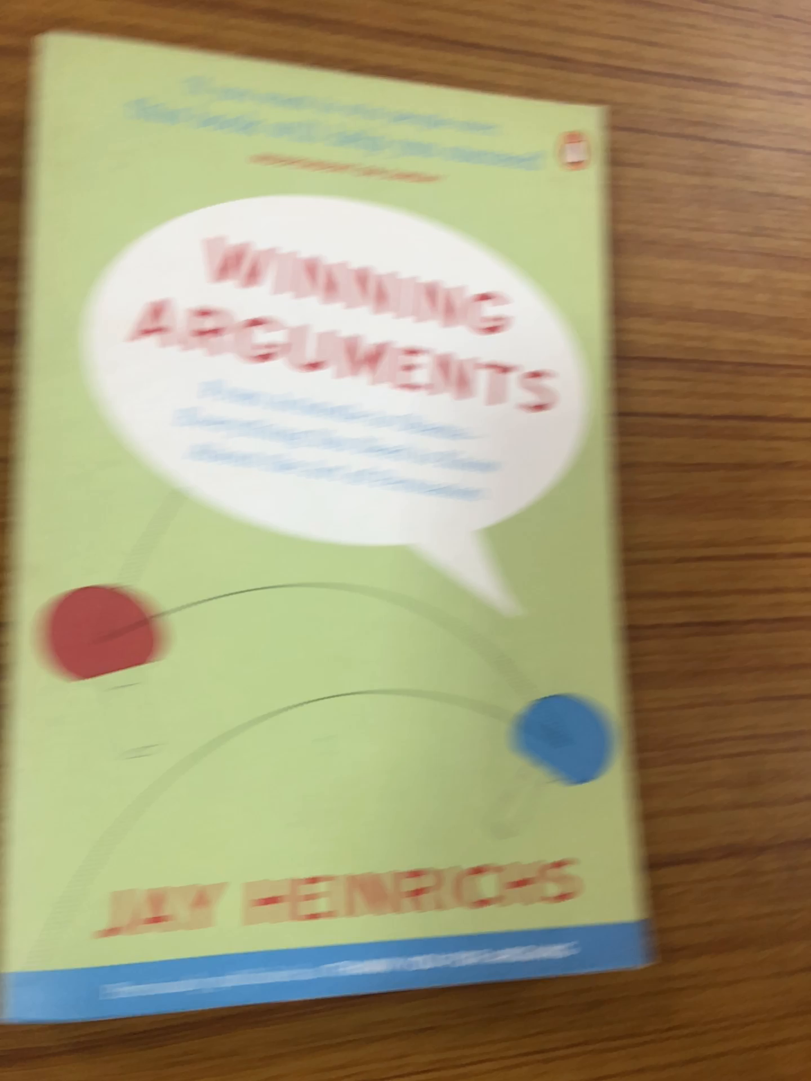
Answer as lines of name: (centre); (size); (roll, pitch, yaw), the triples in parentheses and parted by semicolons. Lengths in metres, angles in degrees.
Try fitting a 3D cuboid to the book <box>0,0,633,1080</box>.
book: (-0.025, -0.006, 0.201); (0.140, 0.030, 0.210); (1, 83, -15)
